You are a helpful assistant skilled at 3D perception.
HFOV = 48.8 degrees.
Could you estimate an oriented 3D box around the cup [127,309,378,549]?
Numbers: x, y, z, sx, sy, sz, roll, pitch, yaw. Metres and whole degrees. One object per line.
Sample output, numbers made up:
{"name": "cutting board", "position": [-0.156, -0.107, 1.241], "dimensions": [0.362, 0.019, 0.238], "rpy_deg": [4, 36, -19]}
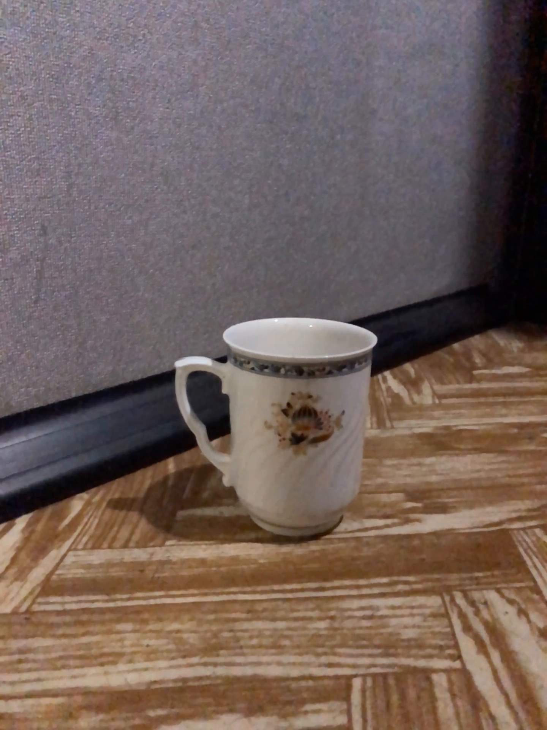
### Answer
{"name": "cup", "position": [-0.006, 0.029, 0.333], "dimensions": [0.118, 0.099, 0.078], "rpy_deg": [4, 18, 10]}
